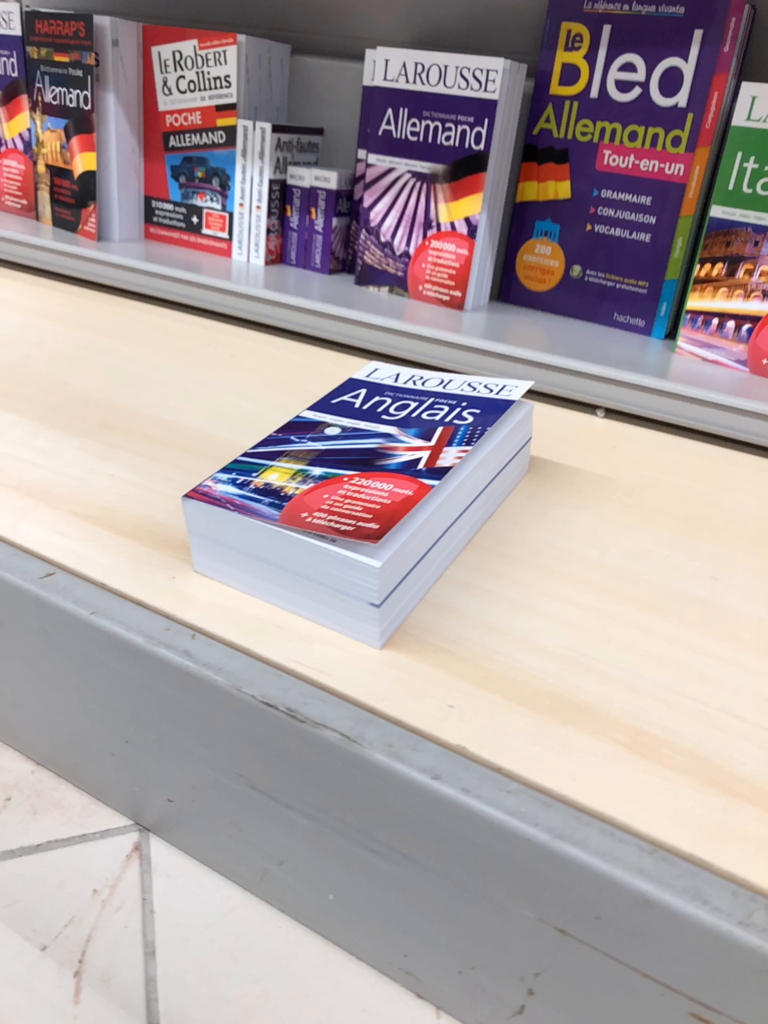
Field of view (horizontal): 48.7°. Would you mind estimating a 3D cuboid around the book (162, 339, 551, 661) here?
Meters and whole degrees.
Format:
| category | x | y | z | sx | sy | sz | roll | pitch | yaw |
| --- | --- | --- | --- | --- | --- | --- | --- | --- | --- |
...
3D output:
| category | x | y | z | sx | sy | sz | roll | pitch | yaw |
| --- | --- | --- | --- | --- | --- | --- | --- | --- | --- |
| book | -0.005 | -0.020 | 0.440 | 0.117 | 0.054 | 0.182 | 19 | 39 | 24 |
